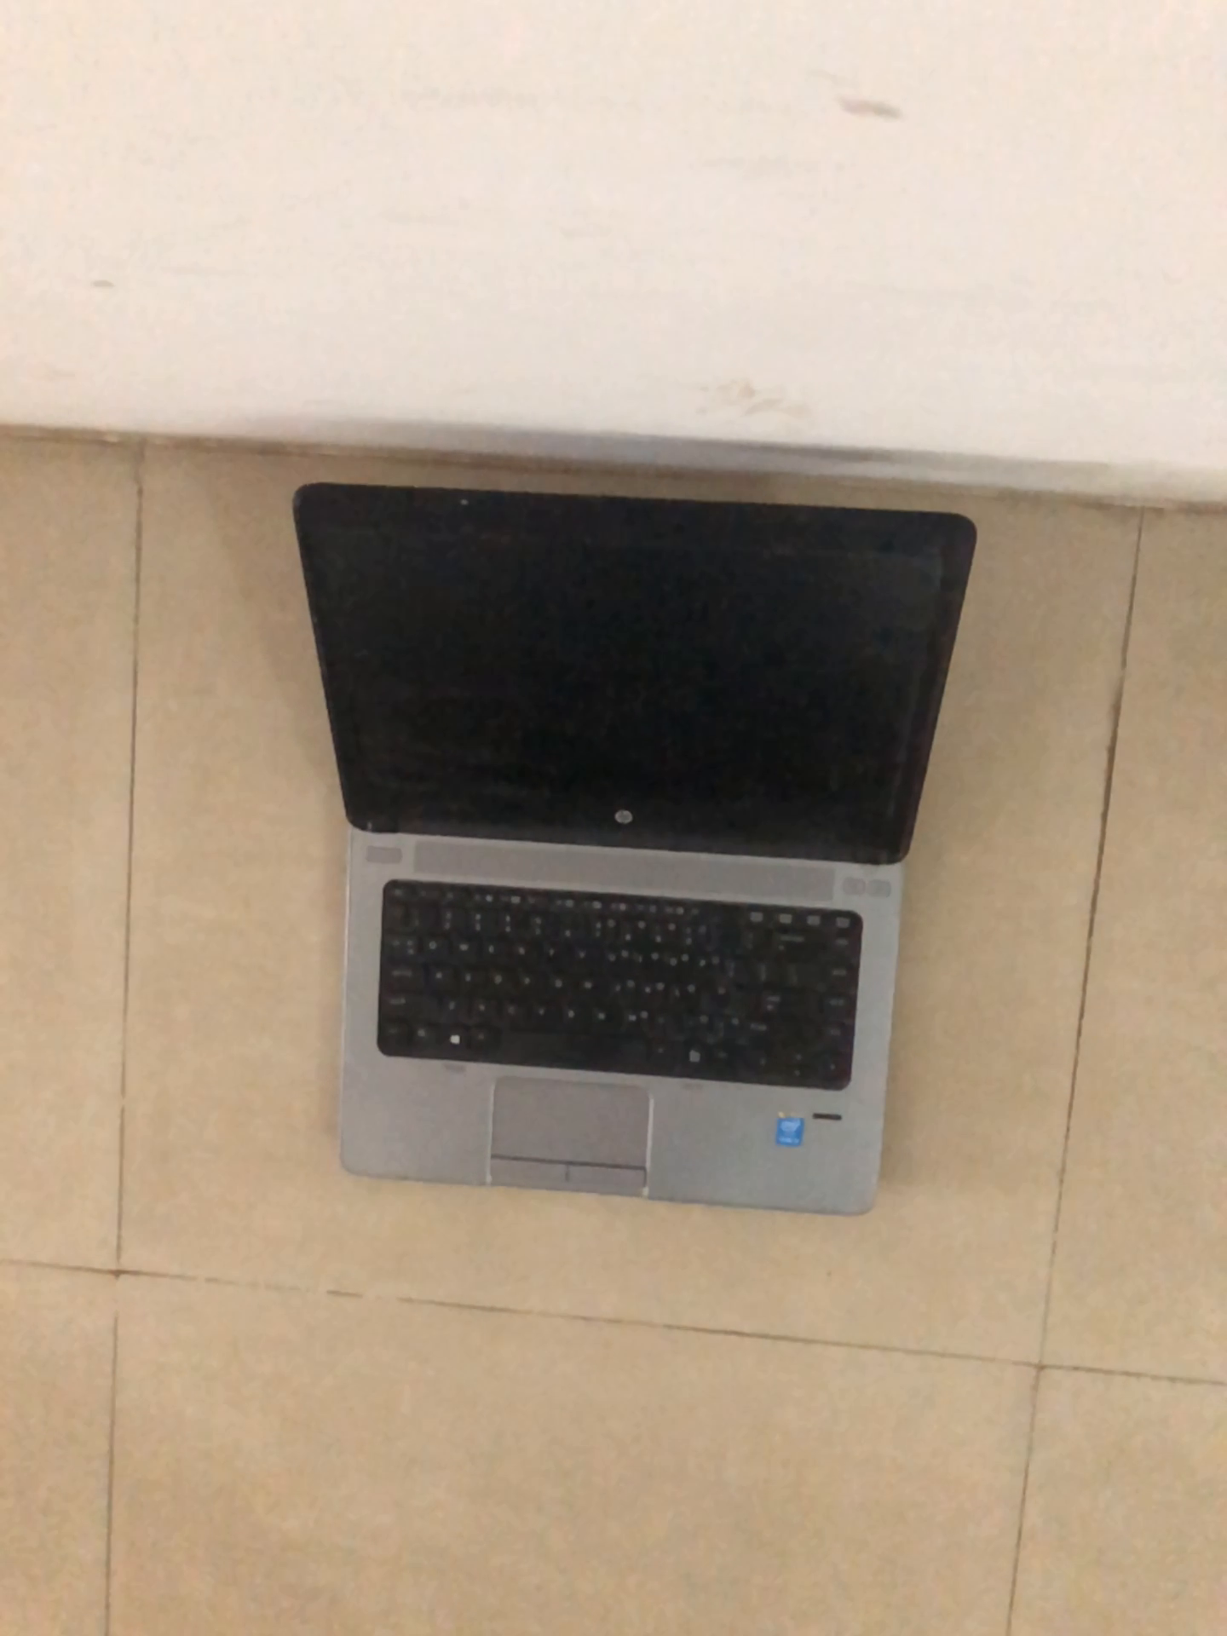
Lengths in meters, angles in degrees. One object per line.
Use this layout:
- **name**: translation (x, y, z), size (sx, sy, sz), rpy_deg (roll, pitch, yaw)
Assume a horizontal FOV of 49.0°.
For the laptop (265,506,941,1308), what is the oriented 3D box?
- **laptop**: translation (-0.006, 0.038, 0.748), size (0.318, 0.147, 0.385), rpy_deg (4, 94, 3)
